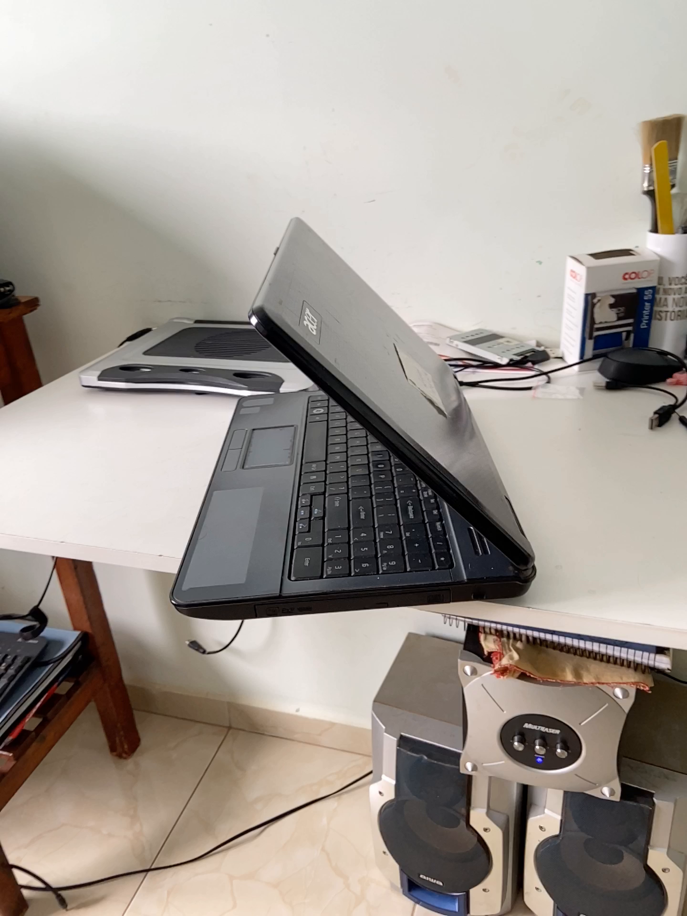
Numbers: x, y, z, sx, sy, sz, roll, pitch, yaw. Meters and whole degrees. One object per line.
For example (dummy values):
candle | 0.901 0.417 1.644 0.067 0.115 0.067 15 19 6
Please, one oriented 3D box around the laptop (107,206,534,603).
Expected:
laptop | -0.008 -0.078 0.586 0.232 0.183 0.368 -5 26 2
